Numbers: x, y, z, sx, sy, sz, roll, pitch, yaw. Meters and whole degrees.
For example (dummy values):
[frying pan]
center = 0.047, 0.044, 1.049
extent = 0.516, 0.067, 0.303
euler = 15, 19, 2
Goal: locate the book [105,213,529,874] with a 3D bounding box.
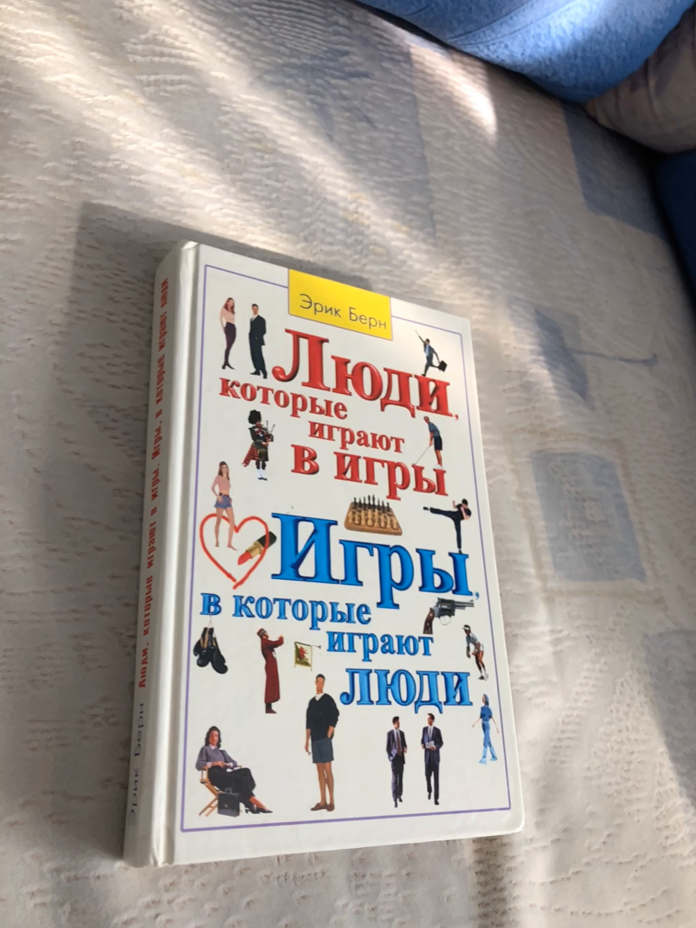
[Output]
[book]
center = -0.008, 0.023, 0.282
extent = 0.135, 0.030, 0.211
euler = 10, 65, -29
